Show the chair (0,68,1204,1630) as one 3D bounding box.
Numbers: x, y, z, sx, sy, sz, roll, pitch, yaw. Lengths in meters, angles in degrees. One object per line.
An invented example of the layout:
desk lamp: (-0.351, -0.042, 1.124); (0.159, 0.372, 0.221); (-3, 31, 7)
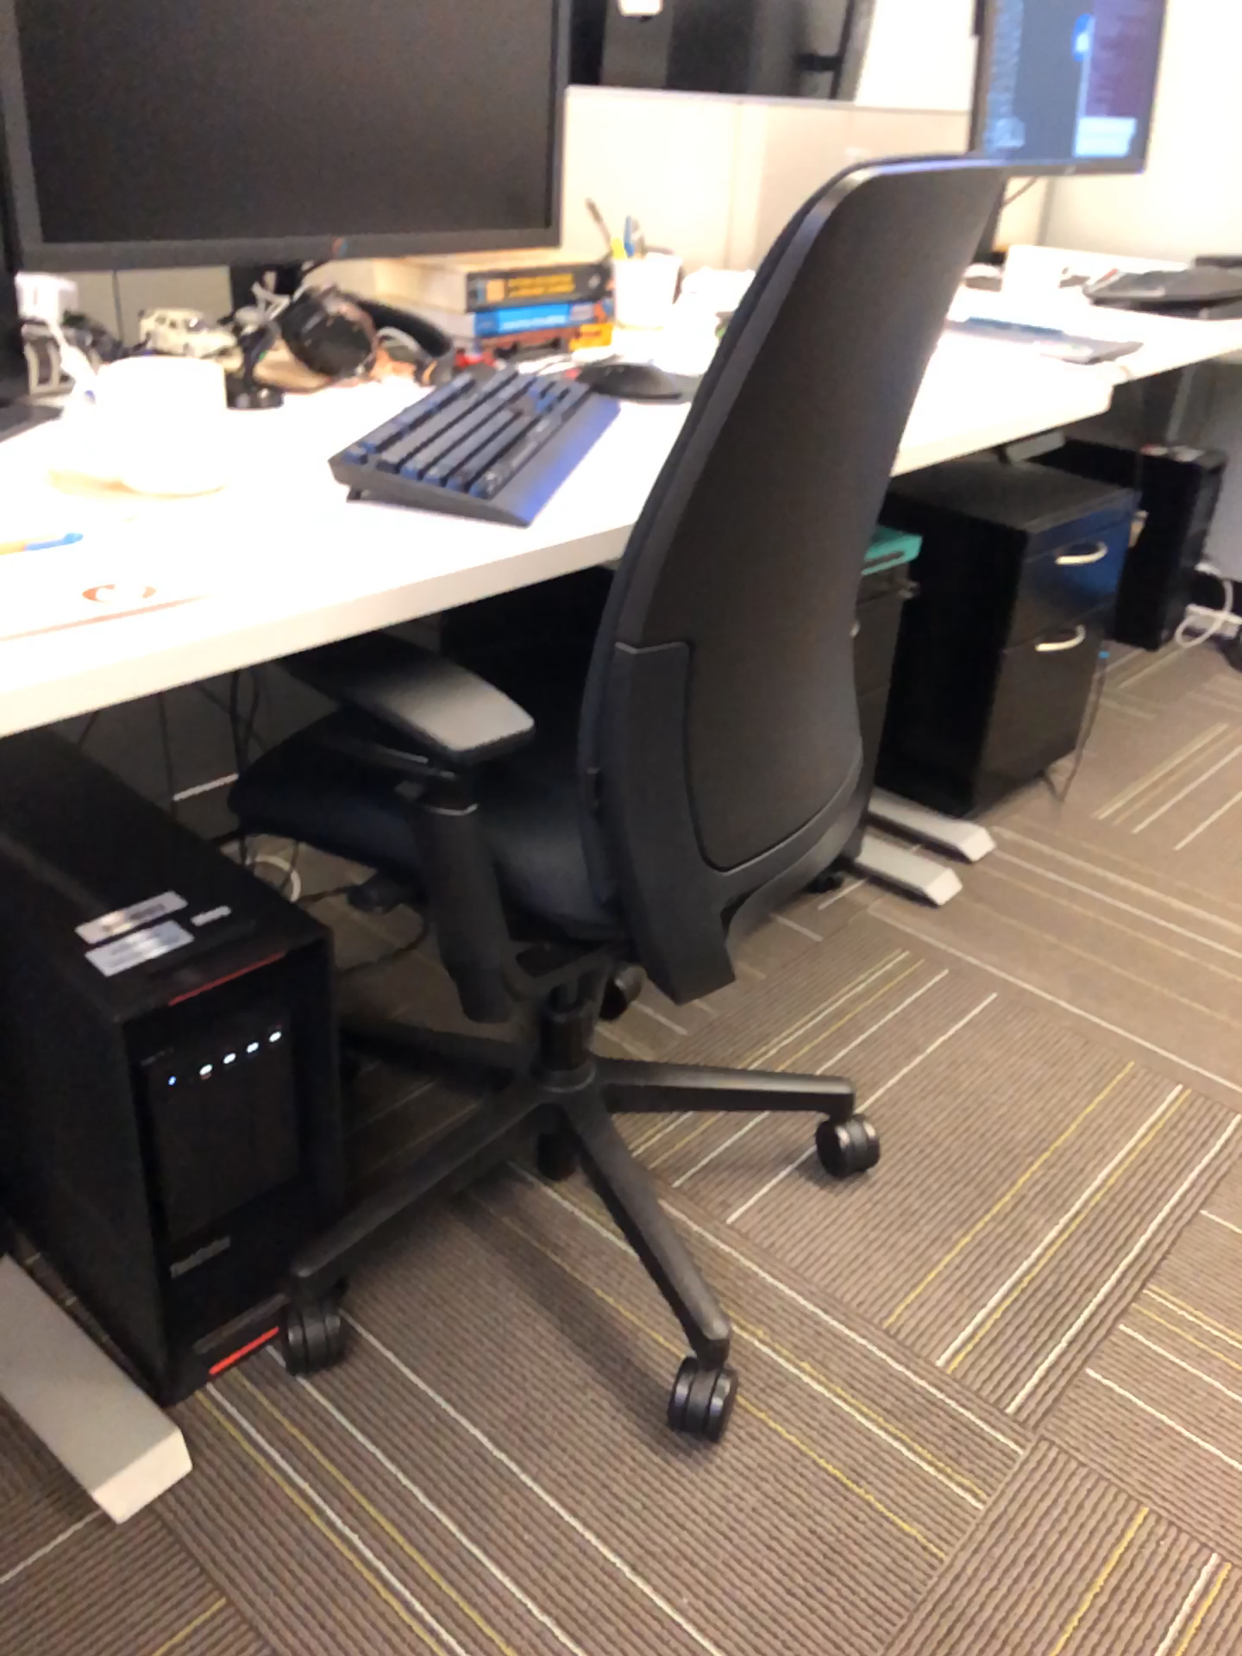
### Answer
chair: (-0.044, -0.068, 1.261); (0.721, 1.044, 0.713); (19, 32, 26)
